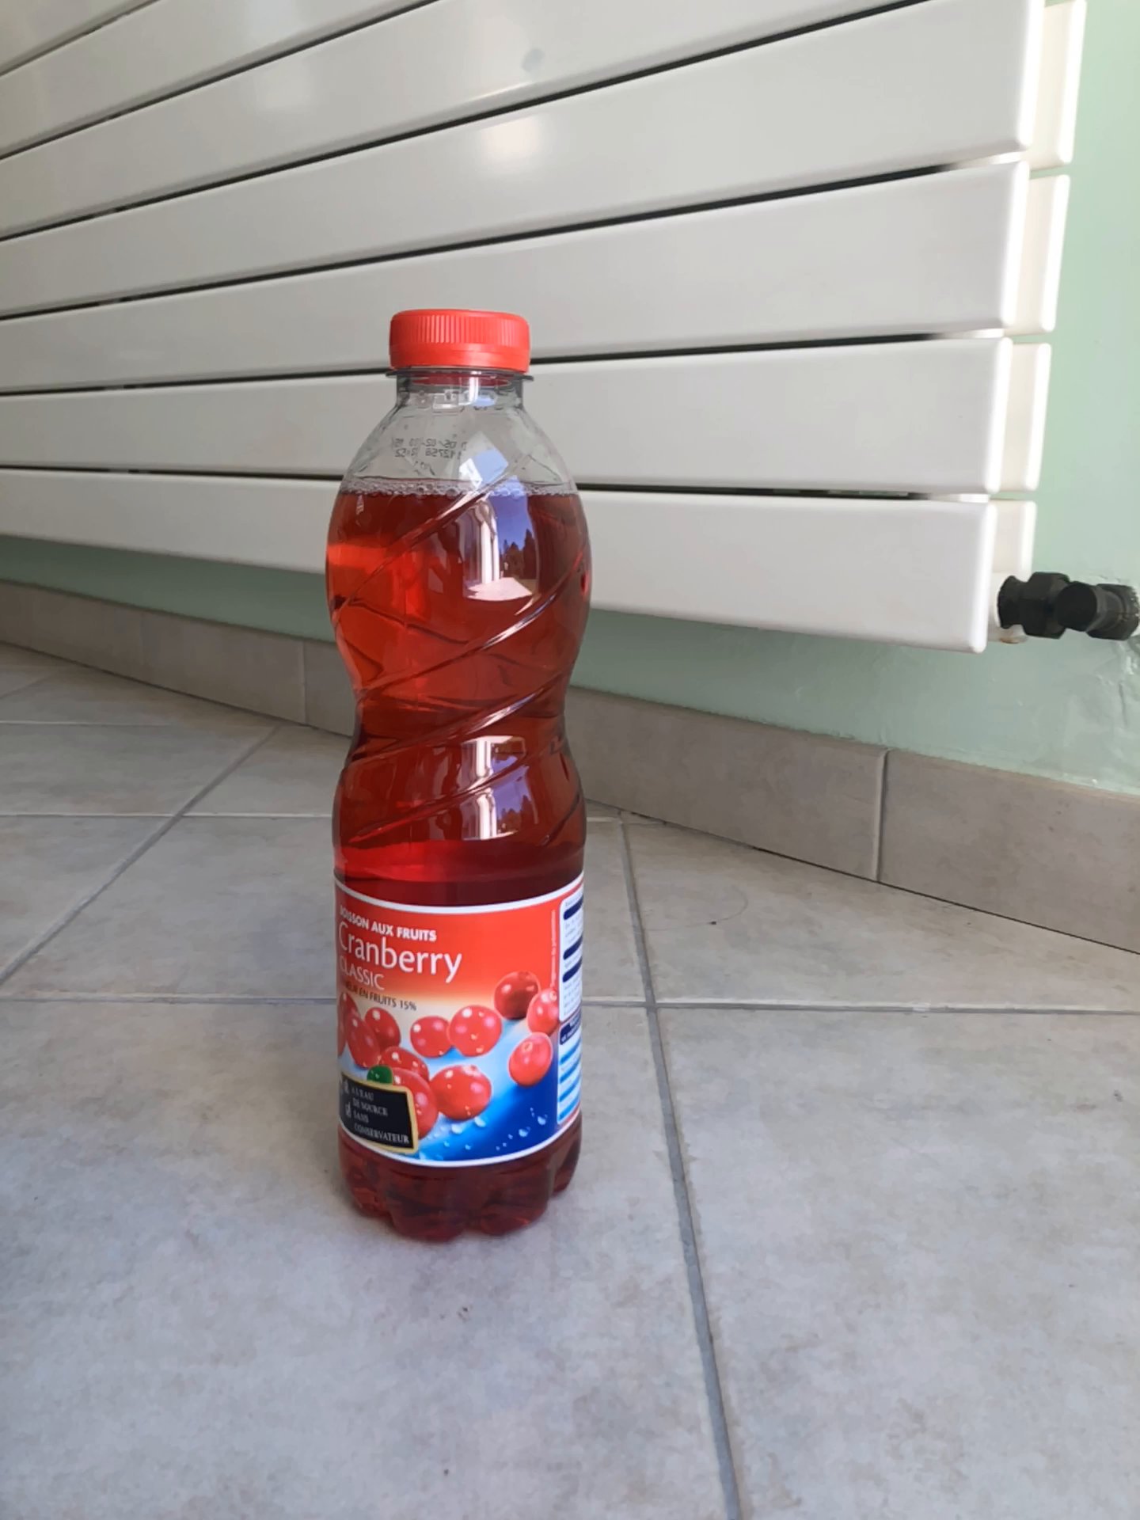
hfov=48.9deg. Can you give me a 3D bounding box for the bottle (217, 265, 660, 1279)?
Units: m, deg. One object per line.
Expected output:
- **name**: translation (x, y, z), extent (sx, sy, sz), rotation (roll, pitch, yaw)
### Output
- **bottle**: translation (-0.037, 0.001, 0.370), extent (0.090, 0.259, 0.080), rotation (10, 16, 37)
